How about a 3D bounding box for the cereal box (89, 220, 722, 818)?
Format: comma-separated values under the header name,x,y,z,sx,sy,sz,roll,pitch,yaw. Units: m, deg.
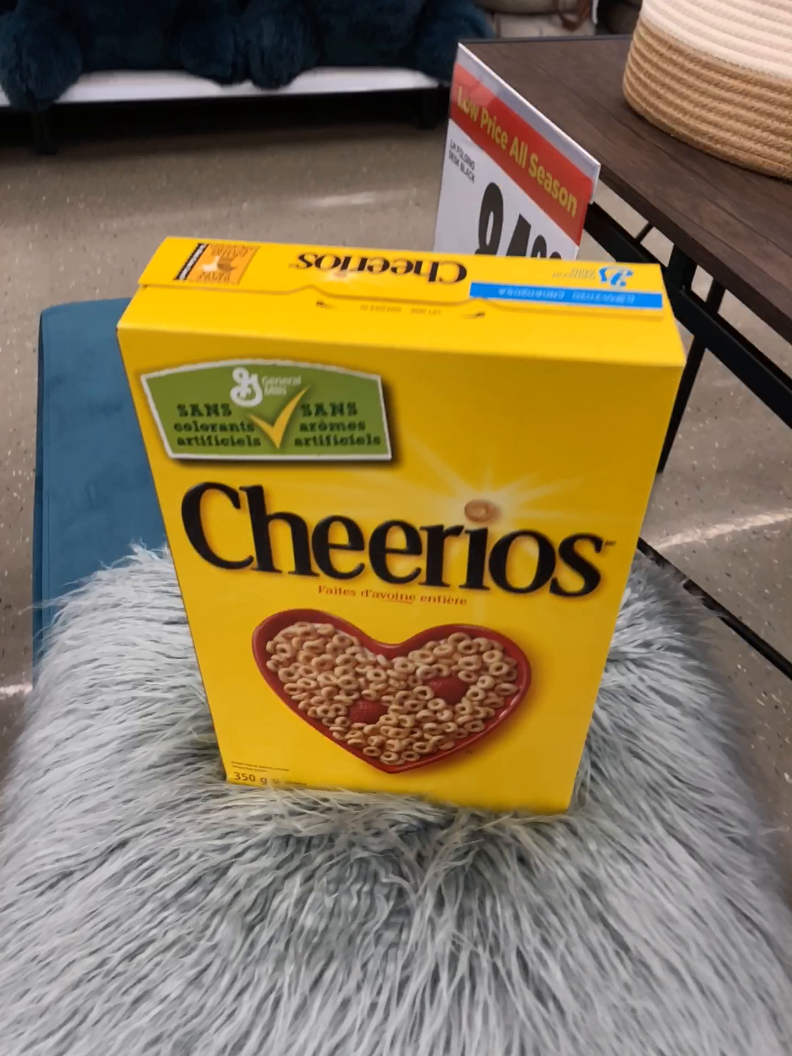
name,x,y,z,sx,sy,sz,roll,pitch,yaw
cereal box,-0.003,0.019,0.417,0.210,0.289,0.080,4,42,0
